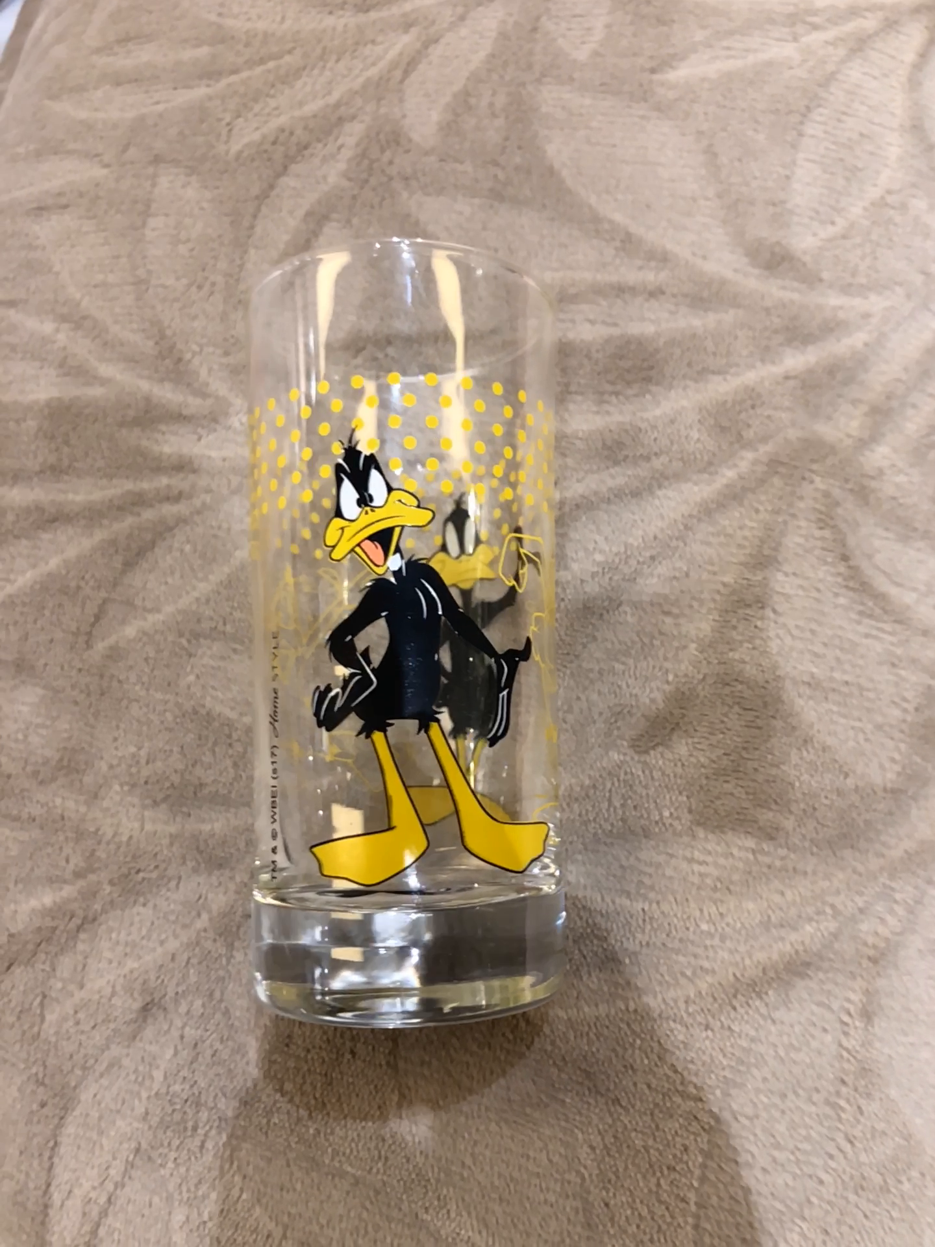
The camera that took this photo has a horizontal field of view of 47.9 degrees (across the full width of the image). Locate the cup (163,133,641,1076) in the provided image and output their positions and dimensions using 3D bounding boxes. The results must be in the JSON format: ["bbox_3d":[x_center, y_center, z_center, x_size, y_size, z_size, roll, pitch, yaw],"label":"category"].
[{"bbox_3d":[-0.009,-0.002,0.209,0.070,0.070,0.160,-3,73,5],"label":"cup"}]
